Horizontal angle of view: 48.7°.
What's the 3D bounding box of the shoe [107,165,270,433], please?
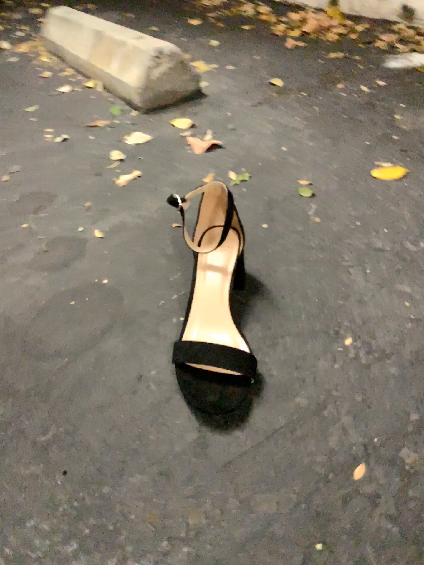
[{"bbox_3d":[-0.002,-0.002,0.498,0.120,0.140,0.270,2,39,7],"label":"shoe"}]
